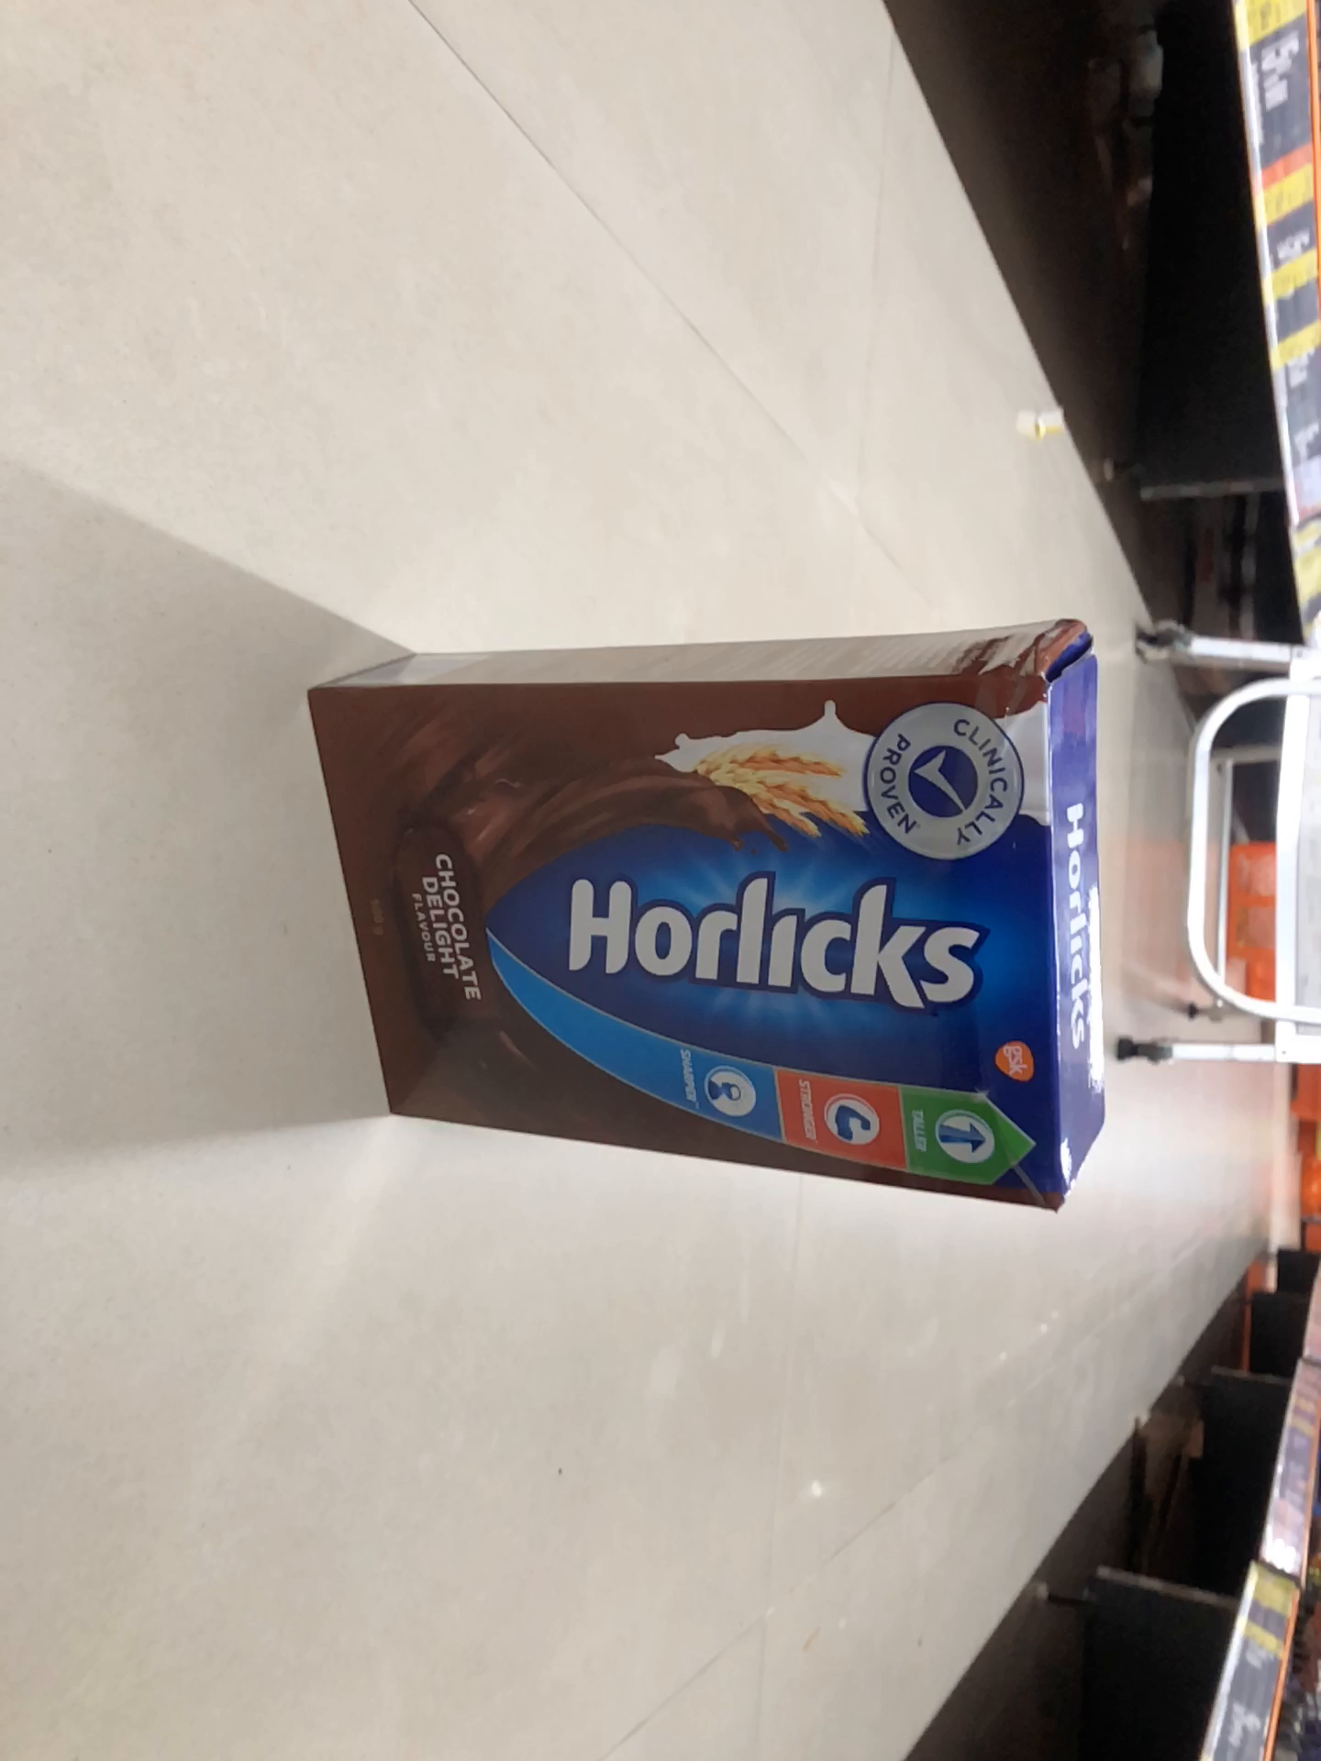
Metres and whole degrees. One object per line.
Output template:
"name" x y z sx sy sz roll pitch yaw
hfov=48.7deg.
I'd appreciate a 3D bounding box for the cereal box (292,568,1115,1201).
"cereal box" 0.013 -0.003 0.392 0.060 0.199 0.140 -38 125 -59
